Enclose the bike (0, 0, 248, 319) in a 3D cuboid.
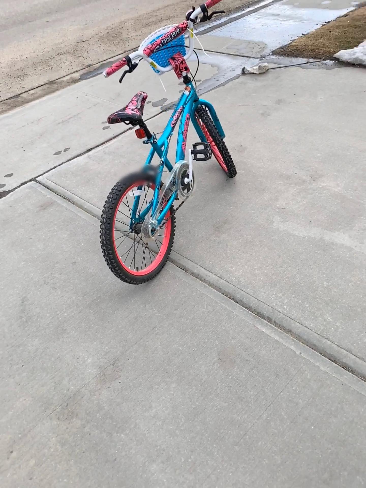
[{"bbox_3d":[-0.187,-0.557,1.748,0.744,0.946,1.263,9,48,18],"label":"bike"}]
